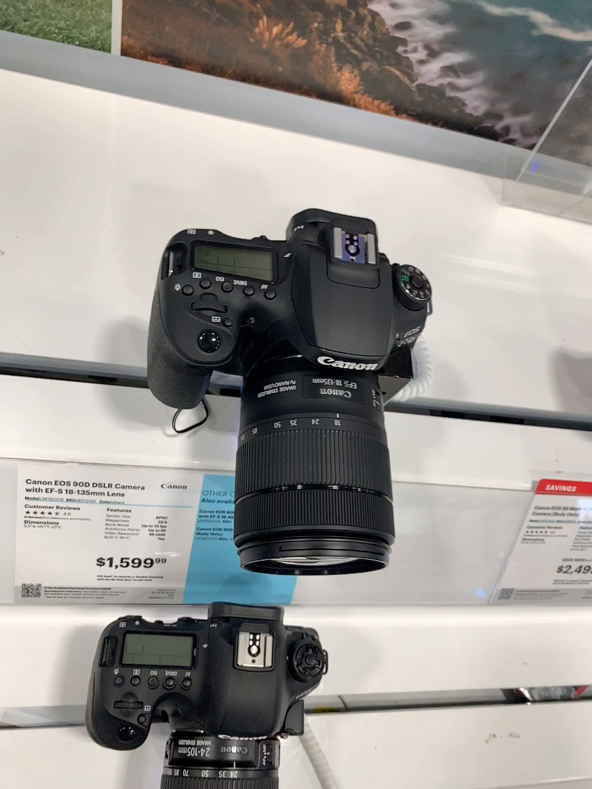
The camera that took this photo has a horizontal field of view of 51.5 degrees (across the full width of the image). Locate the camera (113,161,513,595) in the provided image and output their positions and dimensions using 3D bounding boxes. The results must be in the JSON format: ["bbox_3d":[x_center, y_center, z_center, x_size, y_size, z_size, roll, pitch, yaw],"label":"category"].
[{"bbox_3d":[-0.003,0.002,0.300,0.148,0.104,0.170,6,64,-15],"label":"camera"}]
